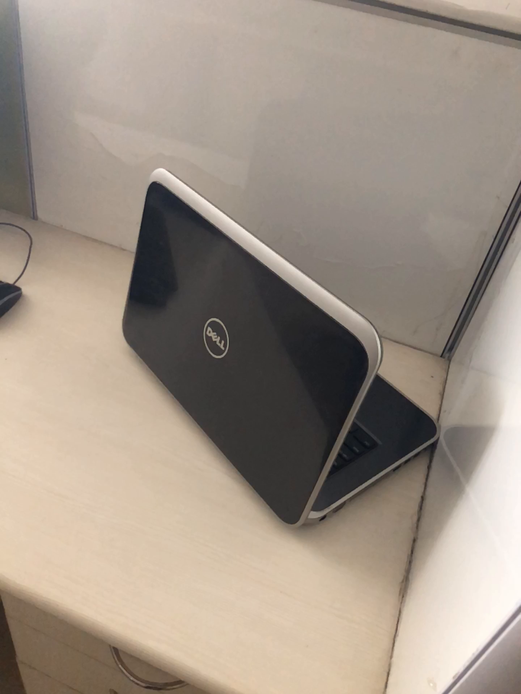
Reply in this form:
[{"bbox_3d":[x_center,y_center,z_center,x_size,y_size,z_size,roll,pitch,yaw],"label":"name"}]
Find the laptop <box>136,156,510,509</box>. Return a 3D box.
[{"bbox_3d":[0.047,-0.044,0.680,0.239,0.217,0.334,-21,50,-36],"label":"laptop"}]
